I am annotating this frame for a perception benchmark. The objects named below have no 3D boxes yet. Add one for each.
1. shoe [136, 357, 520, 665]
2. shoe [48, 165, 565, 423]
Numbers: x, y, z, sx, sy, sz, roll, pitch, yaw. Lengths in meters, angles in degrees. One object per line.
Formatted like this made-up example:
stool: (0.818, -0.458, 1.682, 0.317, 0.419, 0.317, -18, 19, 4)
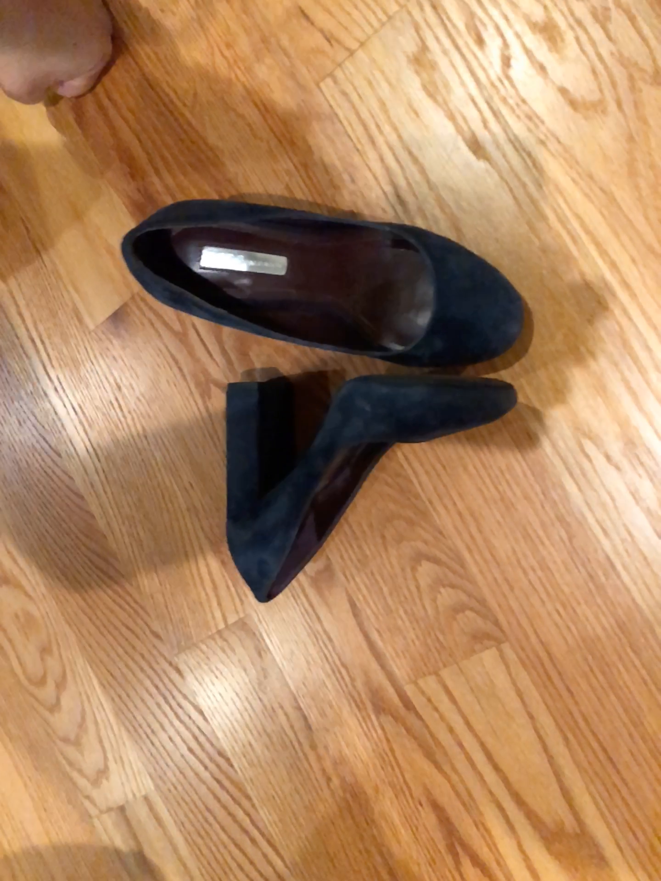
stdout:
shoe: (0.000, 0.034, 0.434, 0.205, 0.080, 0.152, -1, 98, 23)
shoe: (-0.006, -0.081, 0.386, 0.226, 0.146, 0.080, 13, 103, 20)
